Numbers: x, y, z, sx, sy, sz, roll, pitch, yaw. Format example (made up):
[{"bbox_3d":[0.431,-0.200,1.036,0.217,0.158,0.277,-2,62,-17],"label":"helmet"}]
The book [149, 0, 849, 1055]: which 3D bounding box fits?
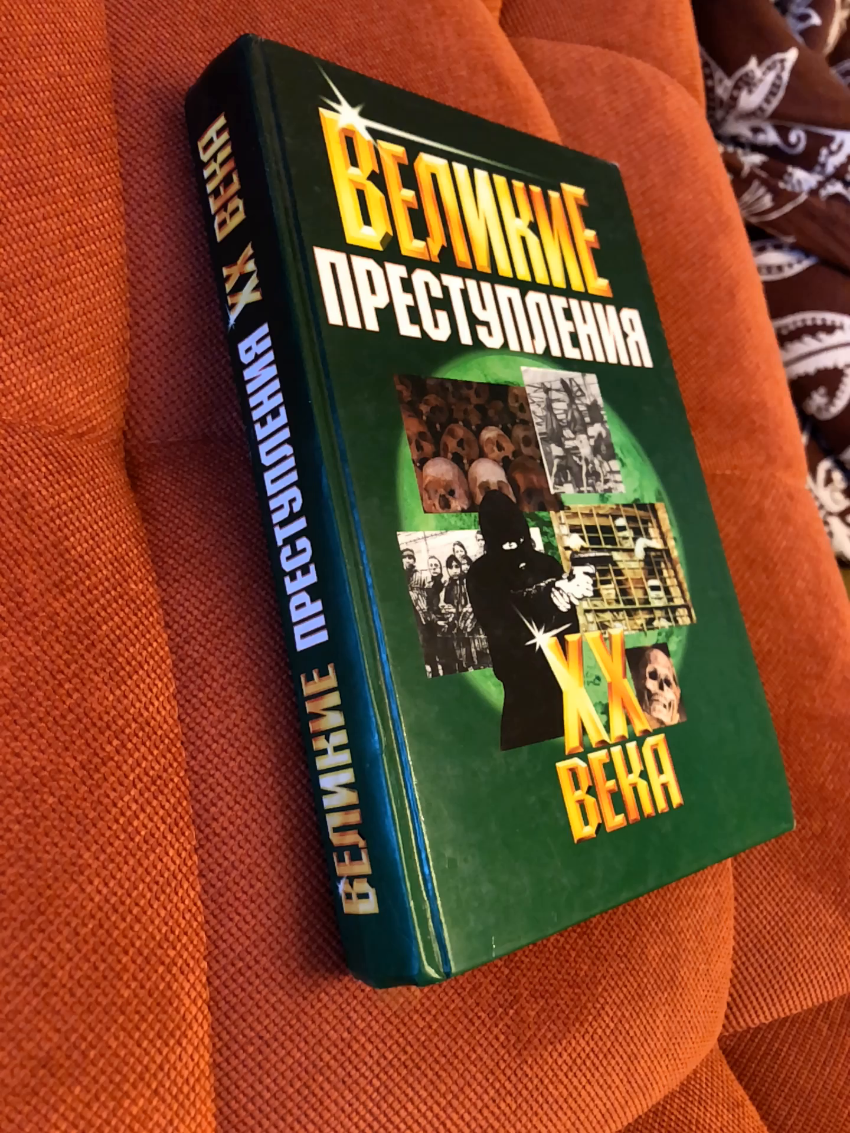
[{"bbox_3d":[0.026,-0.020,0.260,0.161,0.040,0.230,-3,76,-39],"label":"book"}]
